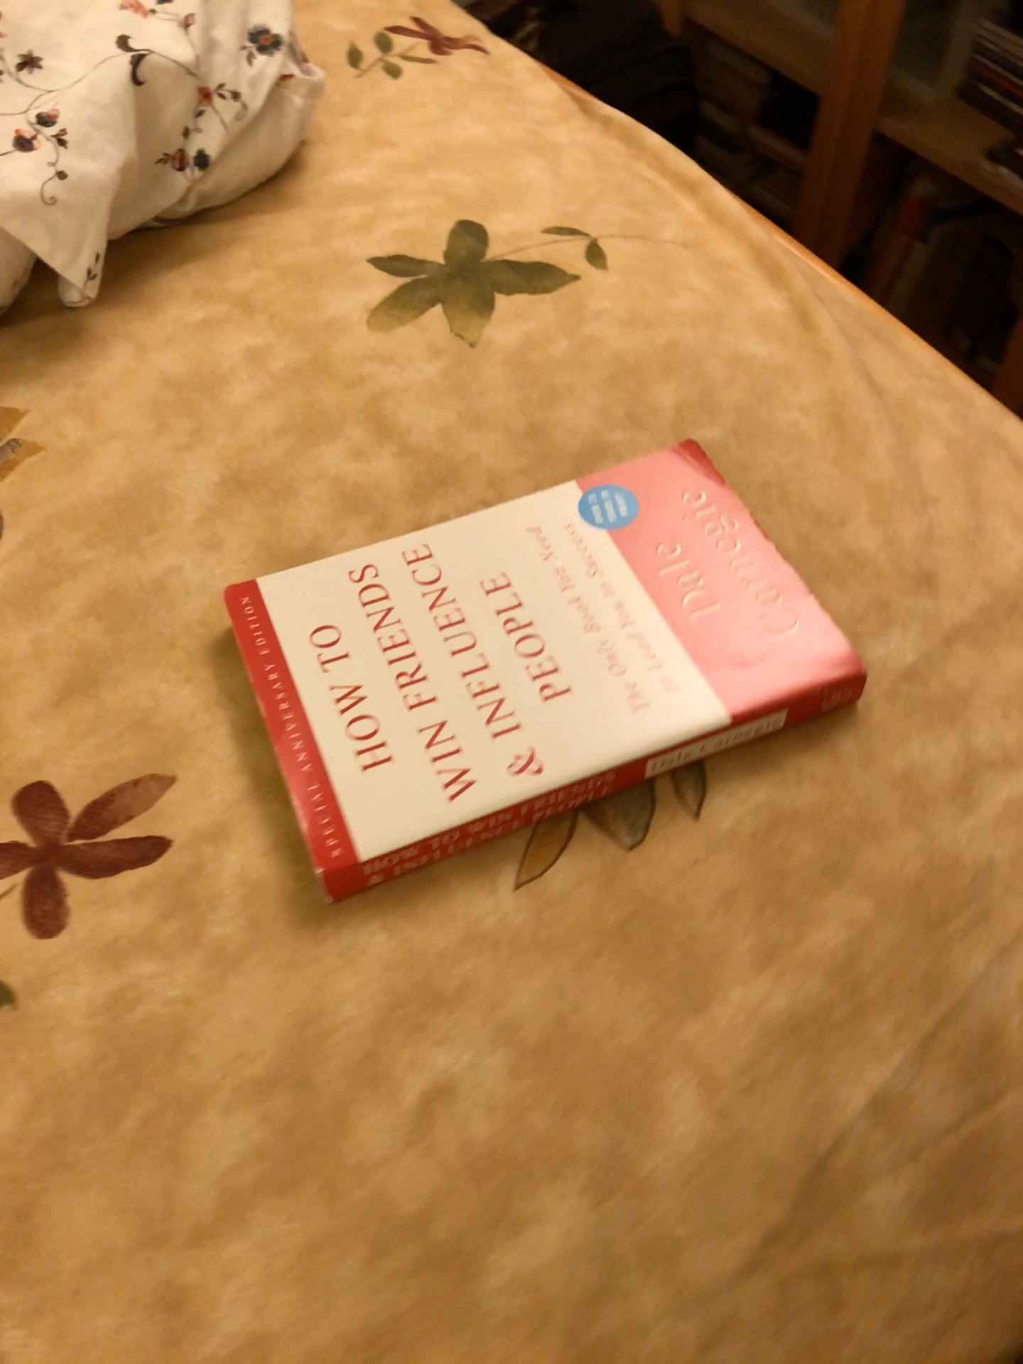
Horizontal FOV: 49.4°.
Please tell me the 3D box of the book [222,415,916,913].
[{"bbox_3d":[0.017,-0.020,0.429,0.220,0.020,0.151,-19,56,-13],"label":"book"}]
